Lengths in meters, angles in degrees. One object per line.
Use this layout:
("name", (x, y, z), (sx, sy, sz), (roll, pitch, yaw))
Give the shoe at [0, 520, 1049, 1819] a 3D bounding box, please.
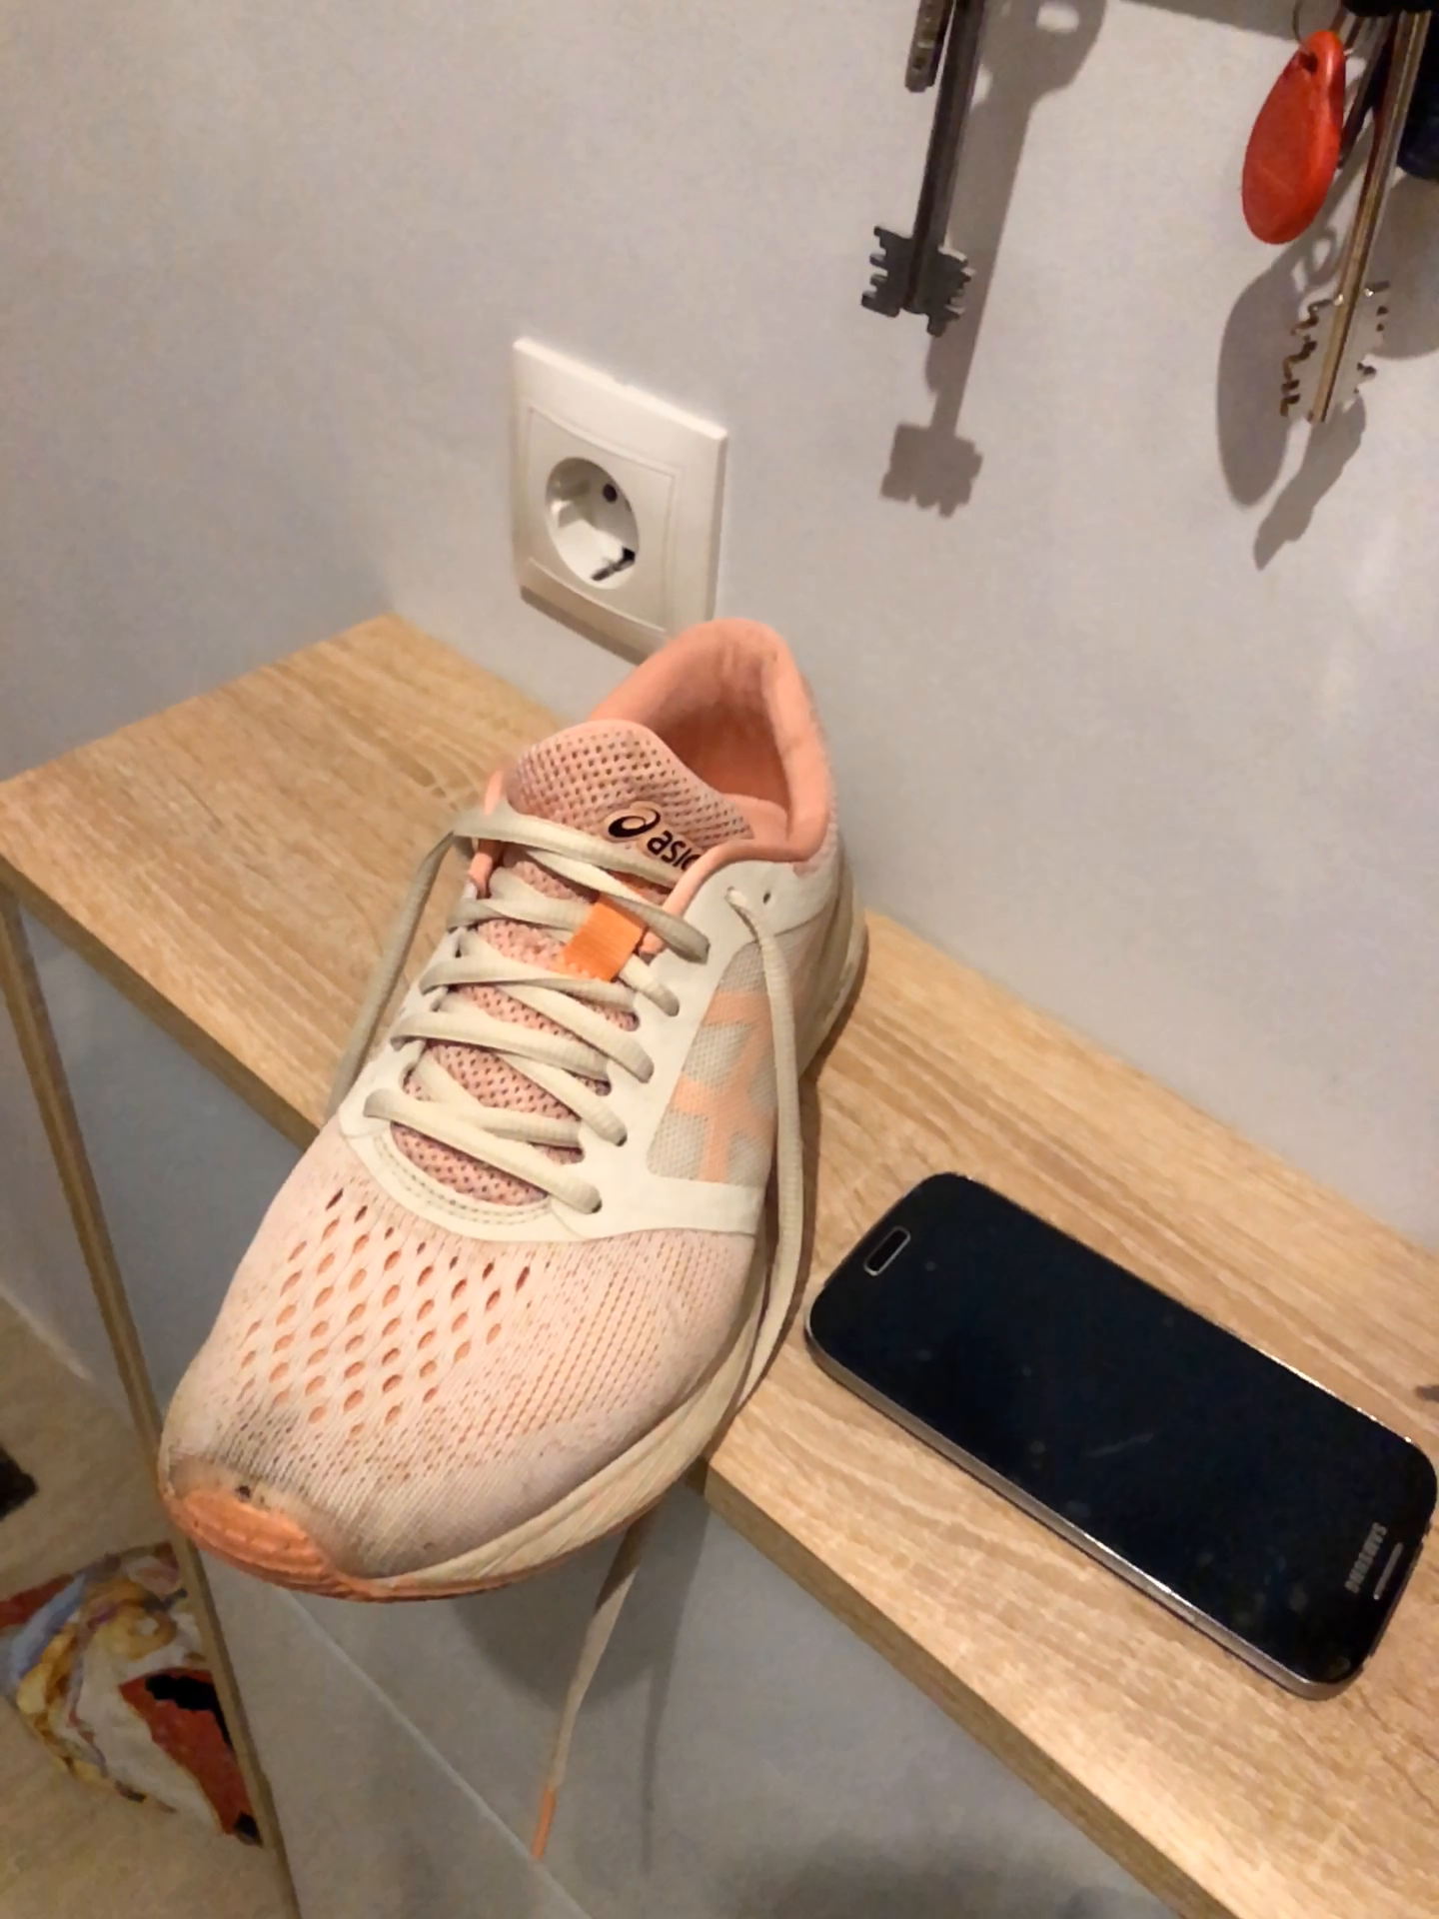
("shoe", (-0.025, 0.017, 0.357), (0.110, 0.103, 0.270), (19, 44, 14))
